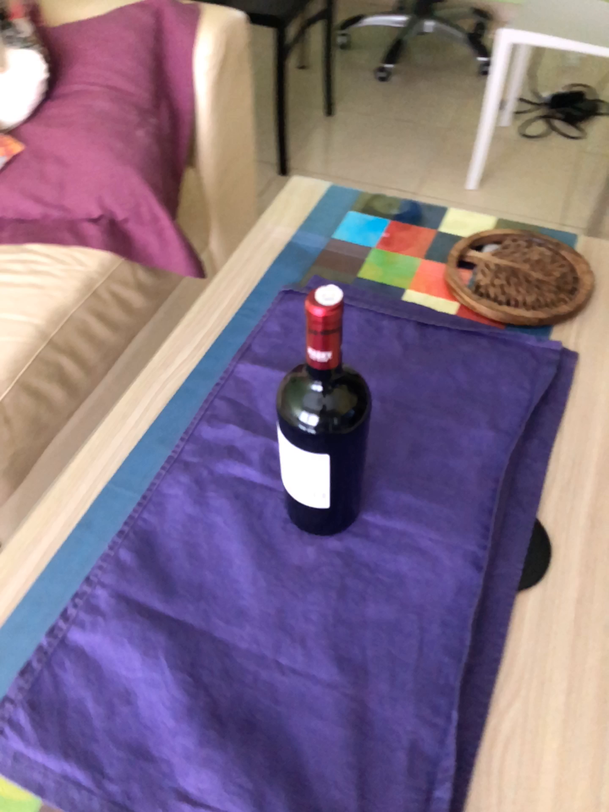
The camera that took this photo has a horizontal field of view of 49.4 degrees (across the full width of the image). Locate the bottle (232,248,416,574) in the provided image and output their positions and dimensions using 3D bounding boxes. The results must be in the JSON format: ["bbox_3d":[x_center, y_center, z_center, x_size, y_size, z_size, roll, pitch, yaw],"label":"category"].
[{"bbox_3d":[0.015,0.018,0.552,0.090,0.269,0.090,0,48,0],"label":"bottle"}]
